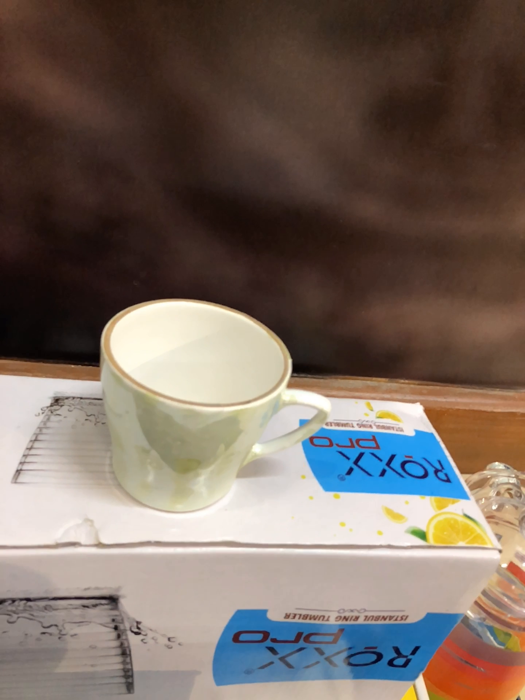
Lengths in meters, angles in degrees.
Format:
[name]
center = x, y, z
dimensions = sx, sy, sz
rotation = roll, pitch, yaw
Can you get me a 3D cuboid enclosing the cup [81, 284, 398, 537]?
[cup]
center = -0.015, 0.023, 0.226
dimensions = 0.100, 0.060, 0.070
rotation = 4, 36, -18
